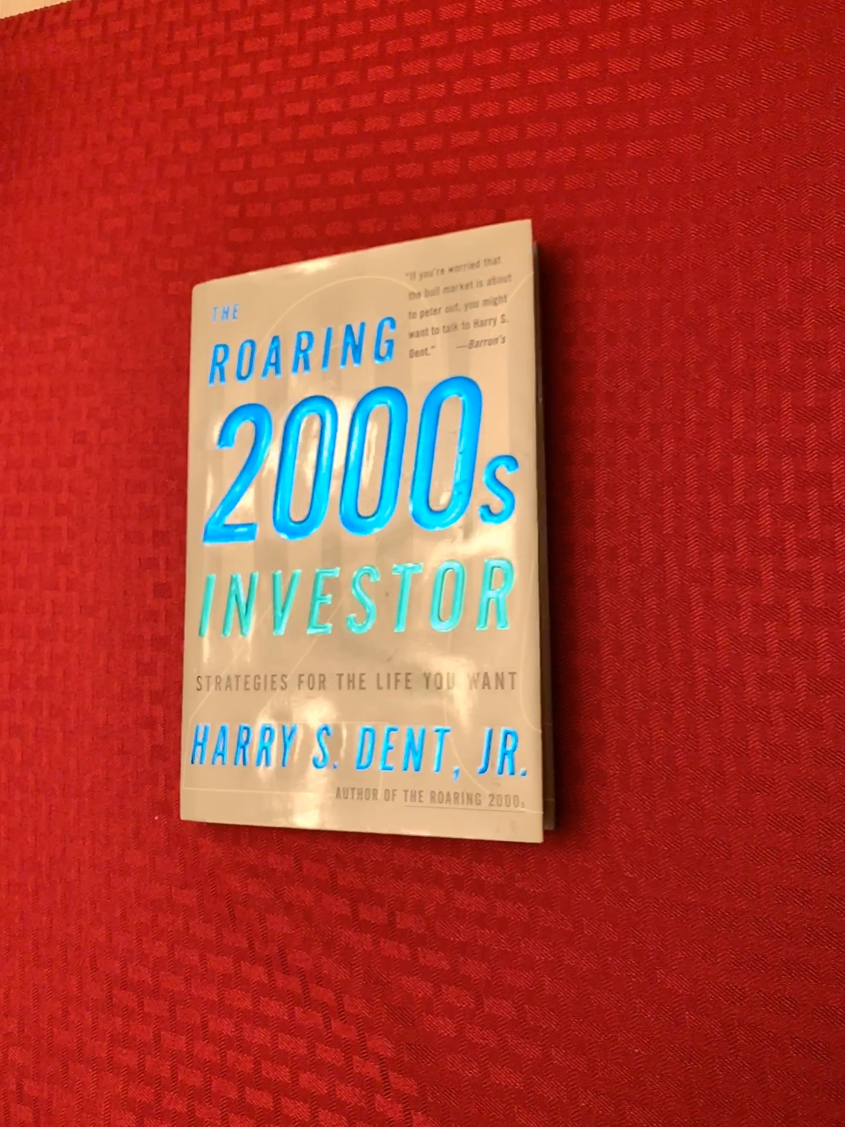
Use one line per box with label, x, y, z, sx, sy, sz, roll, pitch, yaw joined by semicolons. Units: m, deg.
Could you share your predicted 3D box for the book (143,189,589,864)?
book;-0.025;-0.012;0.354;0.170;0.040;0.240;-3;81;20
